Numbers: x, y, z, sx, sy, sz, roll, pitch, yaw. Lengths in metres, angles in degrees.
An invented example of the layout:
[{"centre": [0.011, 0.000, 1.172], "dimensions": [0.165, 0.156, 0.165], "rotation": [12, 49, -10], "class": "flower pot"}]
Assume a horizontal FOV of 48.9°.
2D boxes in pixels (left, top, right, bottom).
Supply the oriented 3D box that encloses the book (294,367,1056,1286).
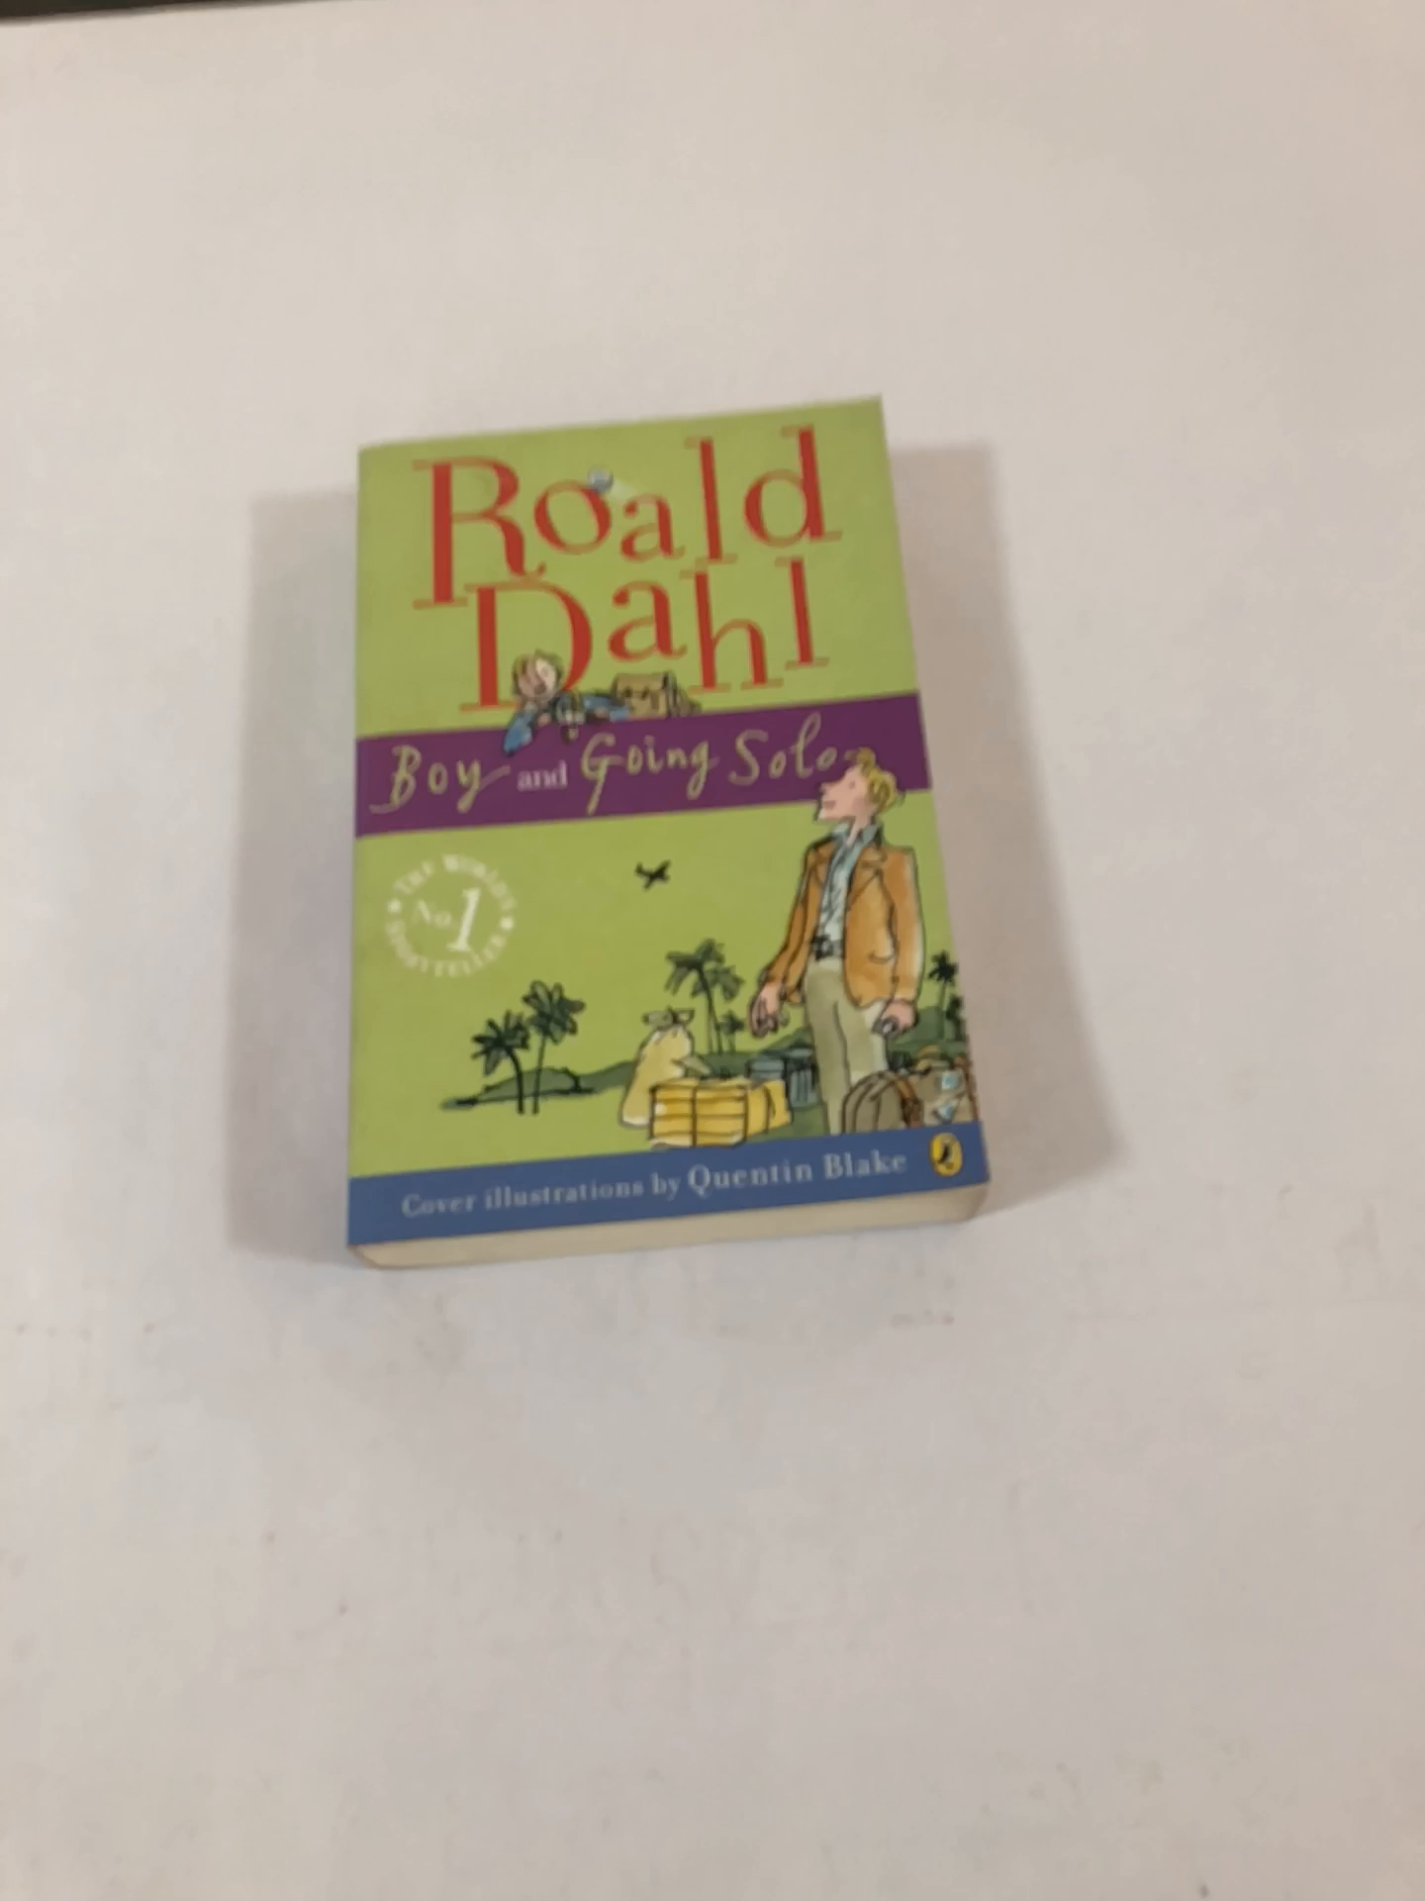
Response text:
[{"centre": [-0.014, -0.033, 0.339], "dimensions": [0.140, 0.036, 0.193], "rotation": [-4, 68, -1], "class": "book"}]
